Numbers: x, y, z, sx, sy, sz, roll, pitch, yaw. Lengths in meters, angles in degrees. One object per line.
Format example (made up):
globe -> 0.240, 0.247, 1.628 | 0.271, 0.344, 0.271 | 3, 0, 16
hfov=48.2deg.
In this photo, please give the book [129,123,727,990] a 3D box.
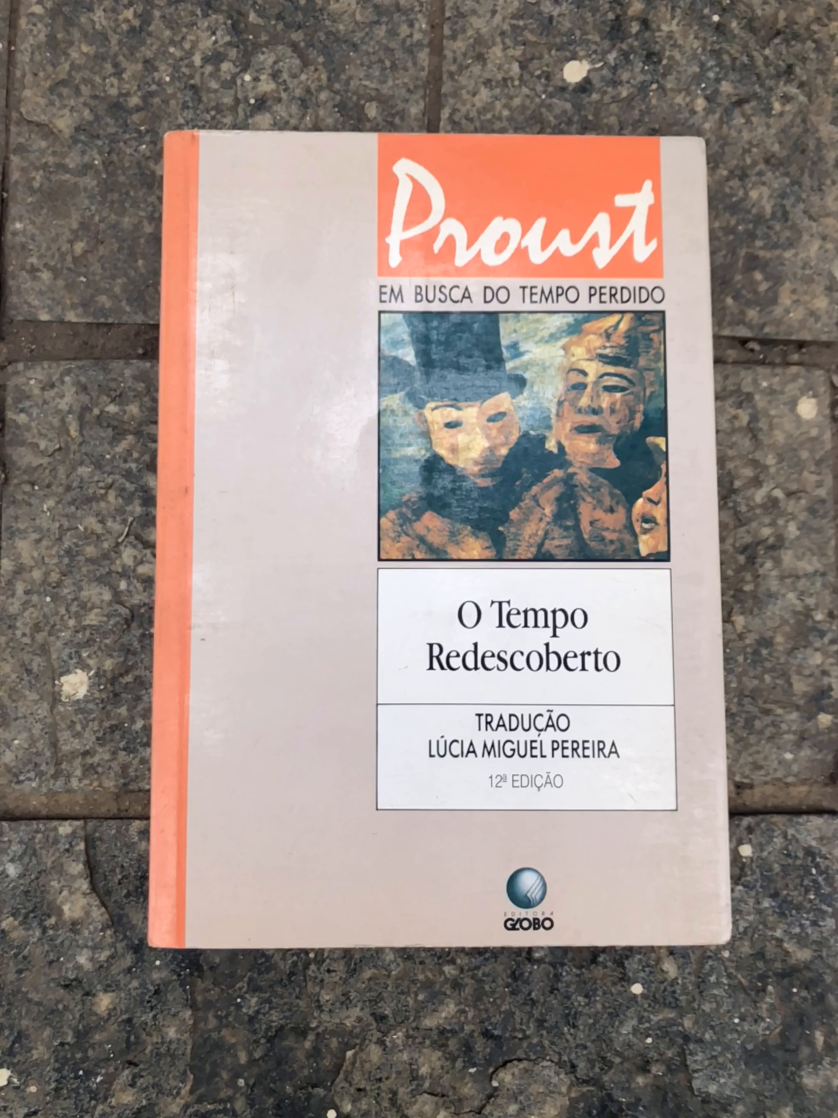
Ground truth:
book -> 0.002, -0.003, 0.228 | 0.134, 0.023, 0.199 | 0, 86, -2
